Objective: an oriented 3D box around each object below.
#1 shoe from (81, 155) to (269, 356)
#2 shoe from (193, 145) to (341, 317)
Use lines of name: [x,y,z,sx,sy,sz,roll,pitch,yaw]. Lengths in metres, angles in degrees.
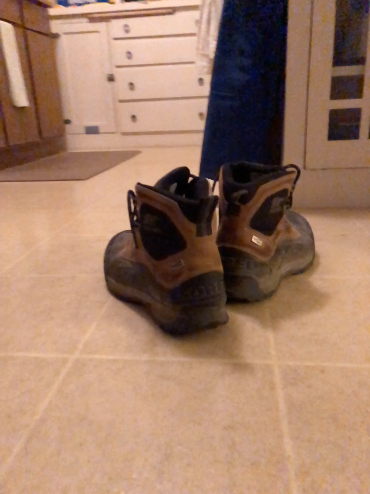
shoe: [-0.031,-0.018,0.574,0.122,0.185,0.300,-13,22,-28]
shoe: [0.144,-0.049,0.640,0.113,0.185,0.294,10,23,33]
